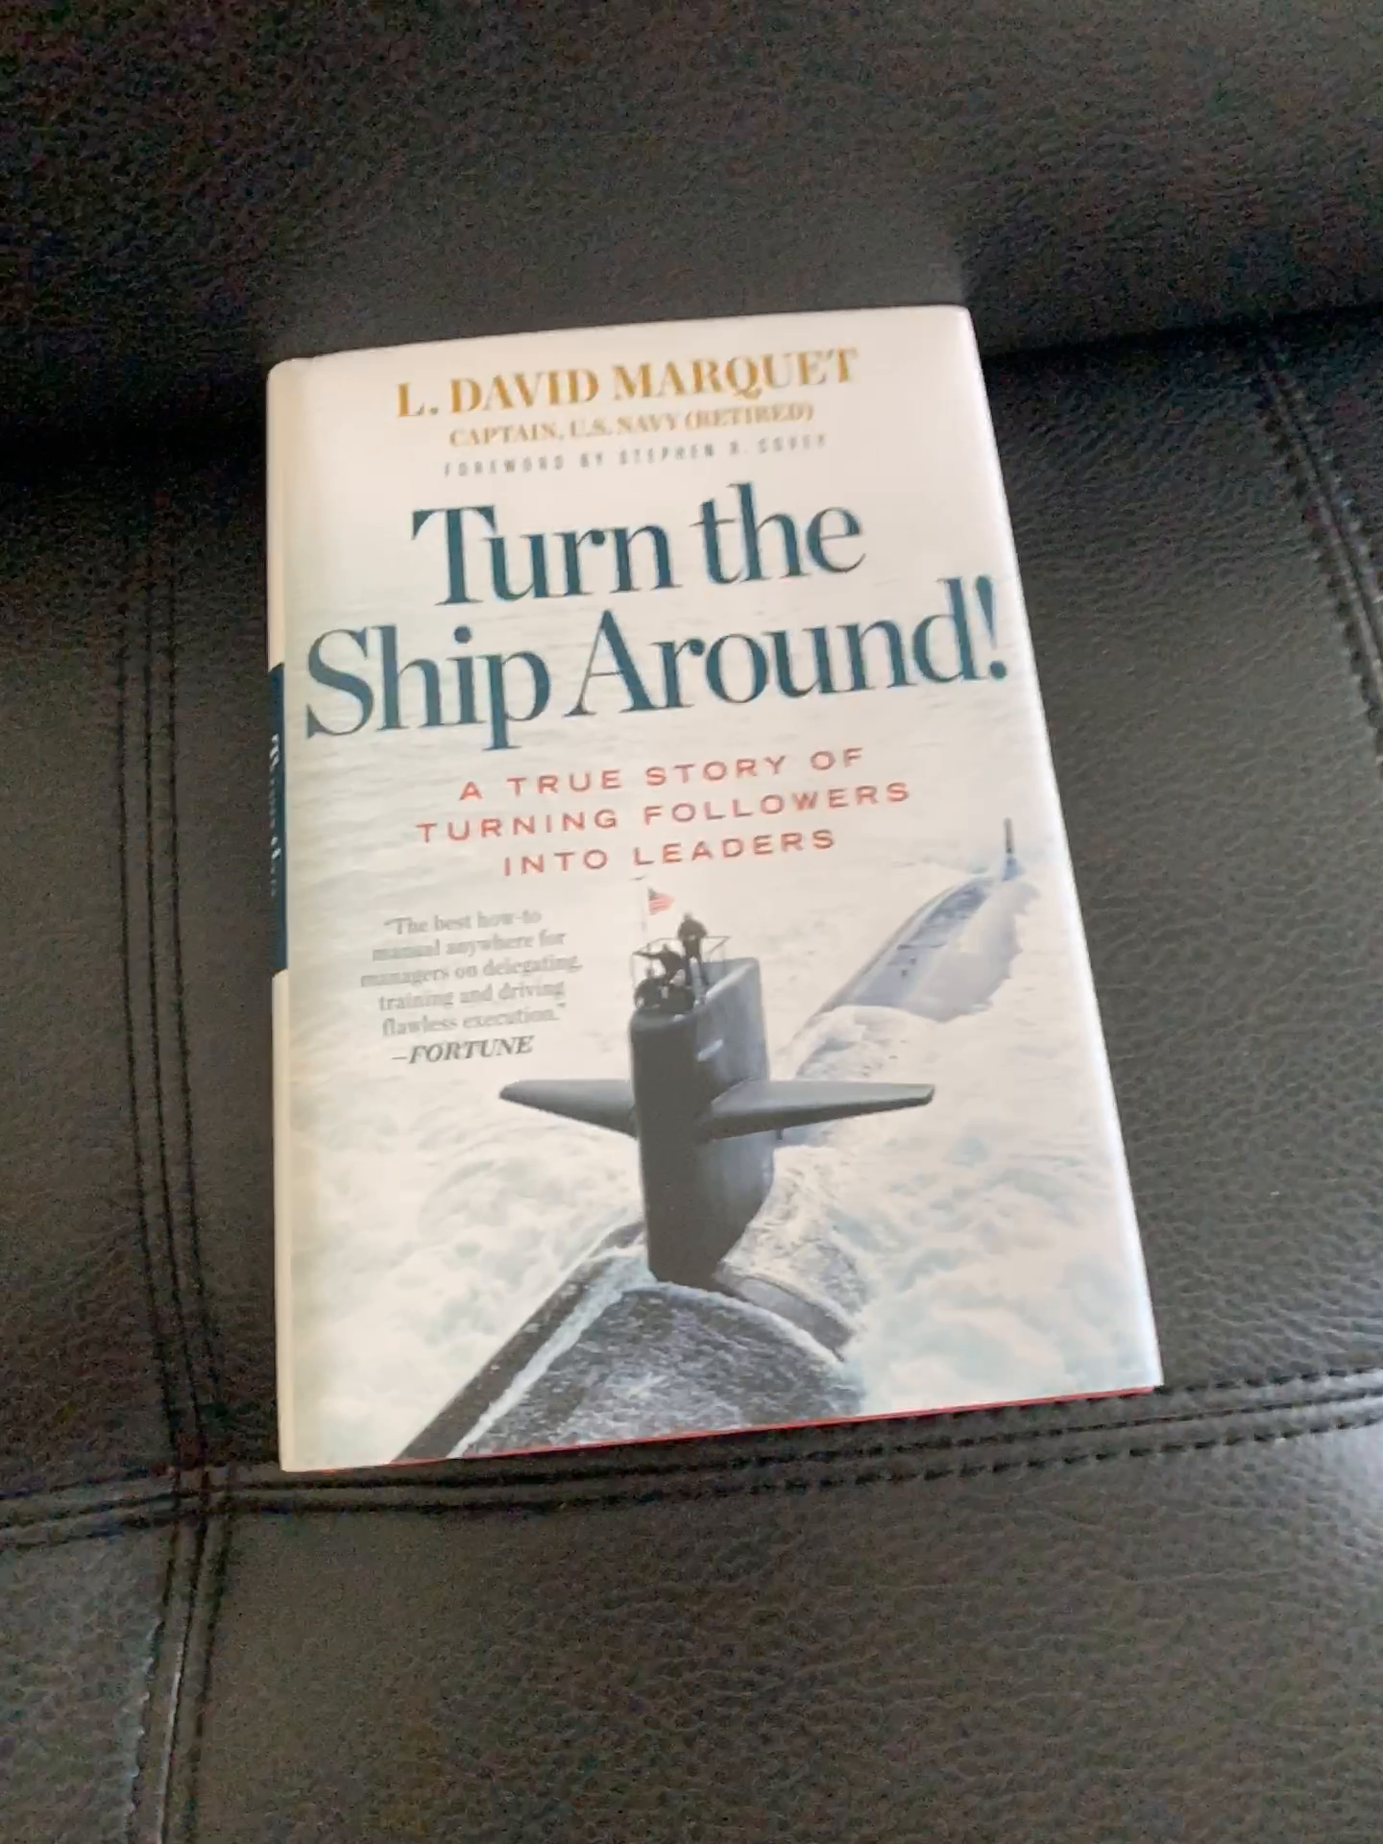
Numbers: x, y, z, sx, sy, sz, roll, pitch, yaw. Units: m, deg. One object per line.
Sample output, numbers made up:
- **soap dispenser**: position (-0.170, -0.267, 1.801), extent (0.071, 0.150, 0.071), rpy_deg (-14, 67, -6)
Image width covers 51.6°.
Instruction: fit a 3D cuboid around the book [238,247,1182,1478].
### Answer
- **book**: position (-0.007, -0.022, 0.277), extent (0.152, 0.029, 0.226), rpy_deg (-5, 73, -1)
